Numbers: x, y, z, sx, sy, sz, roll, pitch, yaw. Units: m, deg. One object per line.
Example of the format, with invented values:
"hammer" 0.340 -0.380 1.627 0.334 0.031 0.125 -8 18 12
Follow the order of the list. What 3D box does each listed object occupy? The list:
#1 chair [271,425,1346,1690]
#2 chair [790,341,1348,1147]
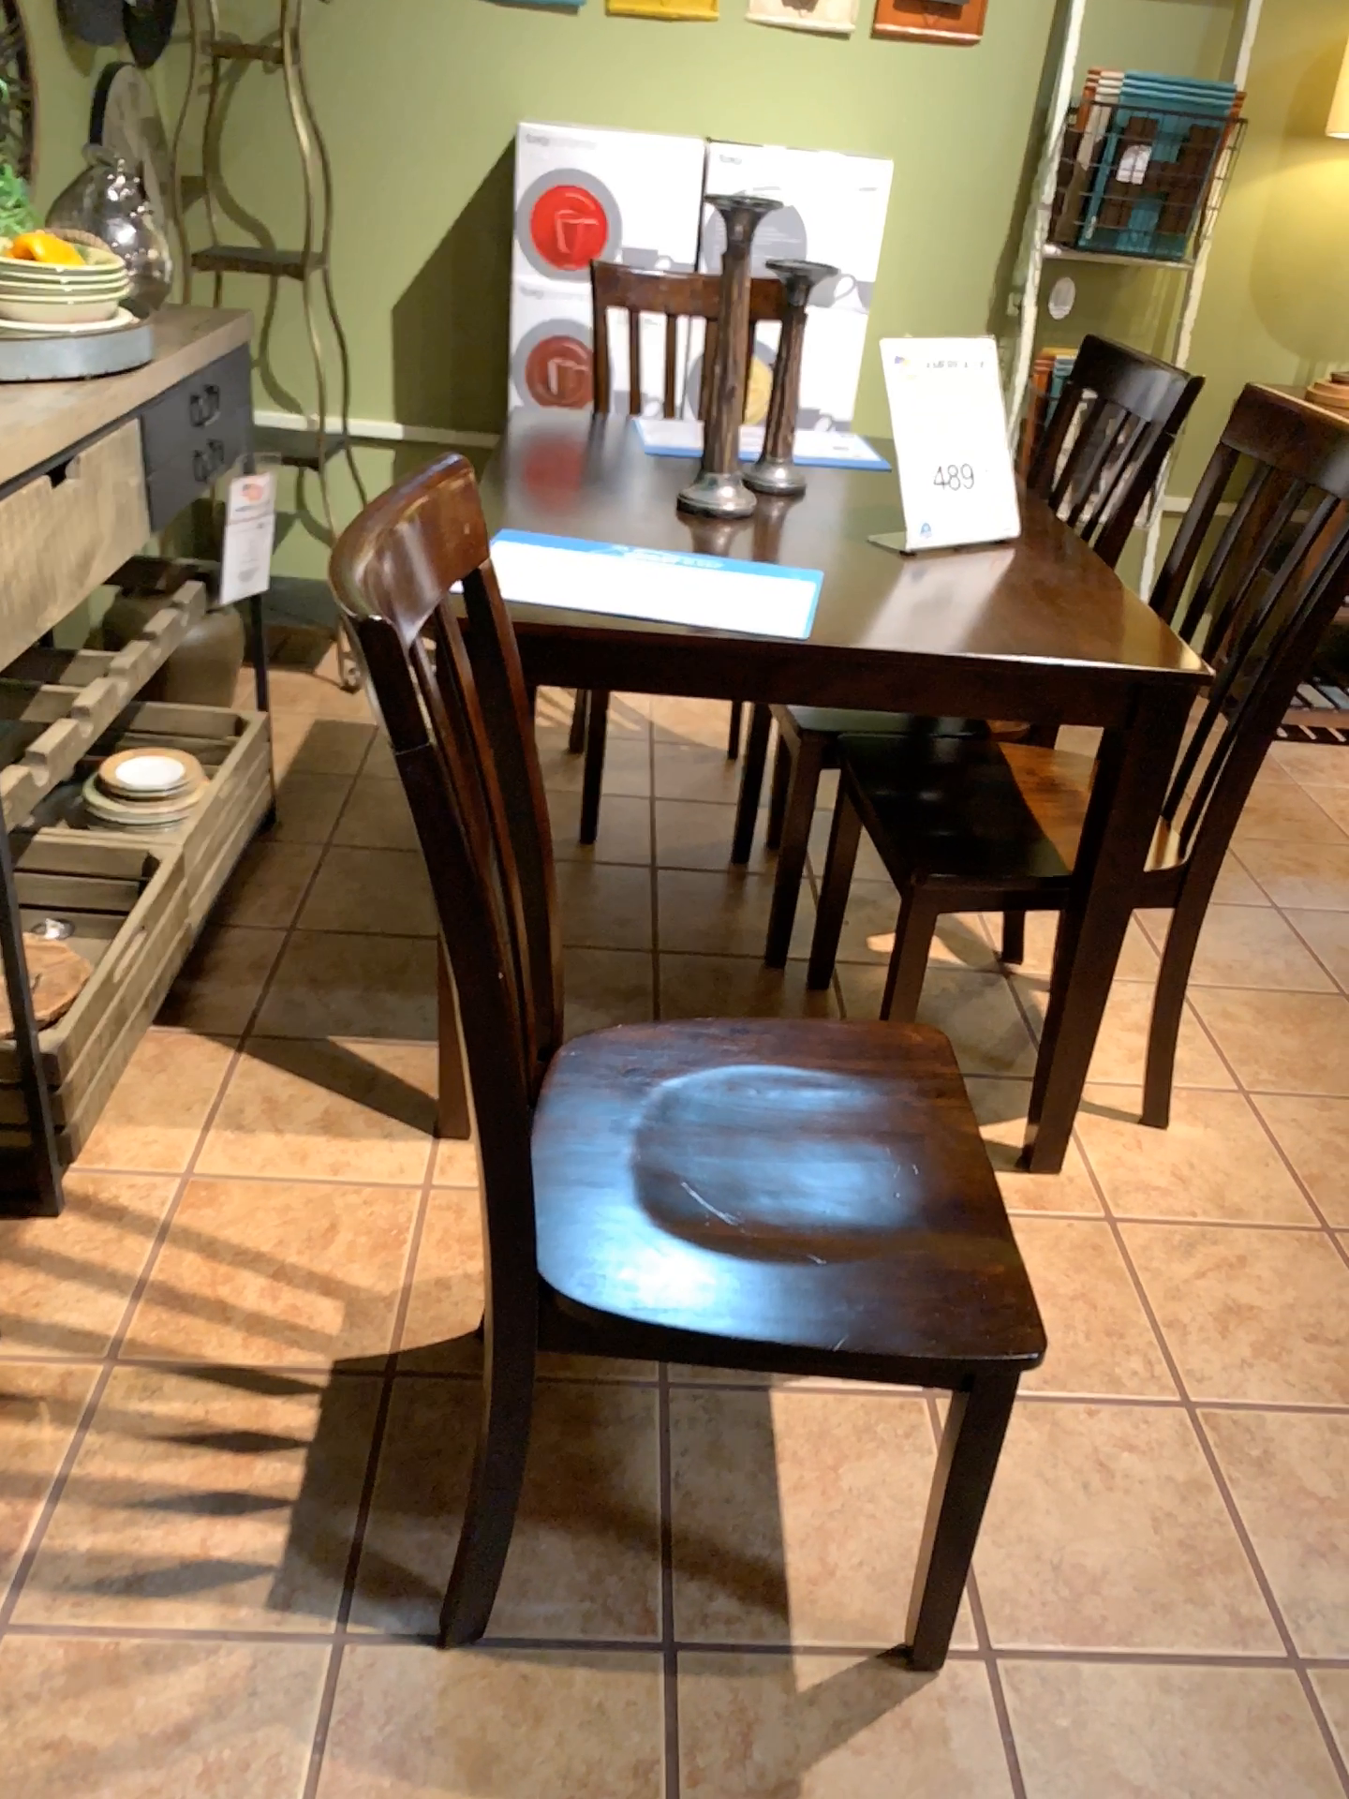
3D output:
"chair" 0.029 0.157 1.174 0.584 0.936 0.463 4 29 -4
"chair" 0.548 -0.191 1.873 0.574 0.946 0.463 1 30 -10
